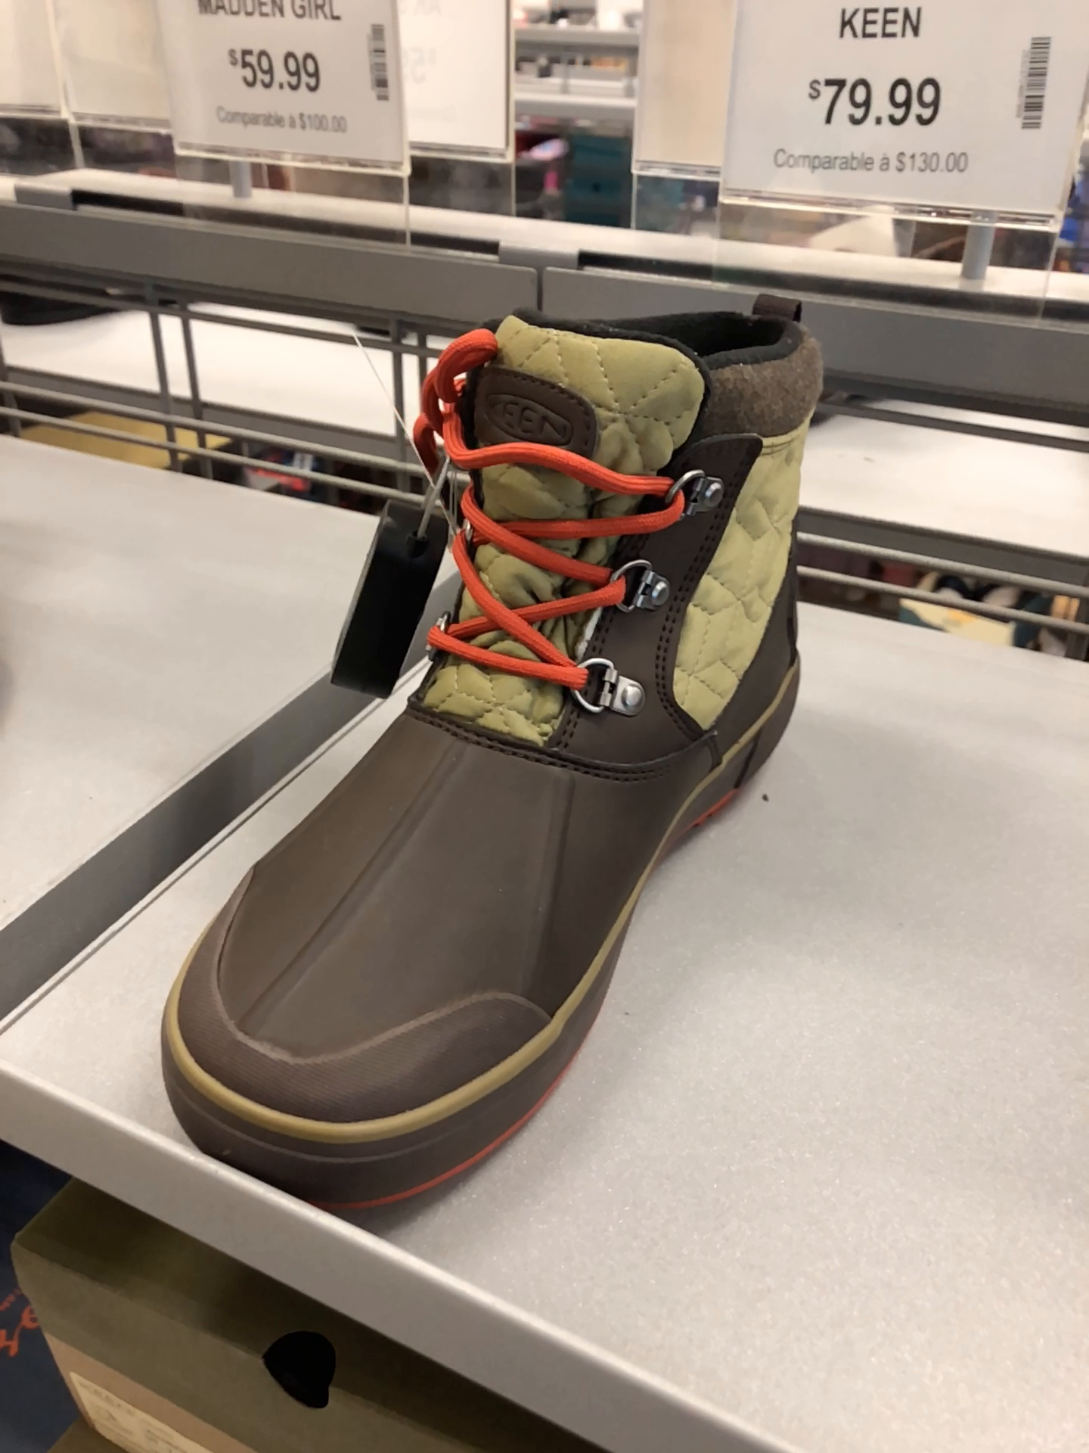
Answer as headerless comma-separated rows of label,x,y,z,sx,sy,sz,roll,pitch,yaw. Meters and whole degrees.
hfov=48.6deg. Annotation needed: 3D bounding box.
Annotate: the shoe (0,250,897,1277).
shoe,-0.004,-0.026,0.320,0.107,0.139,0.262,16,35,23
